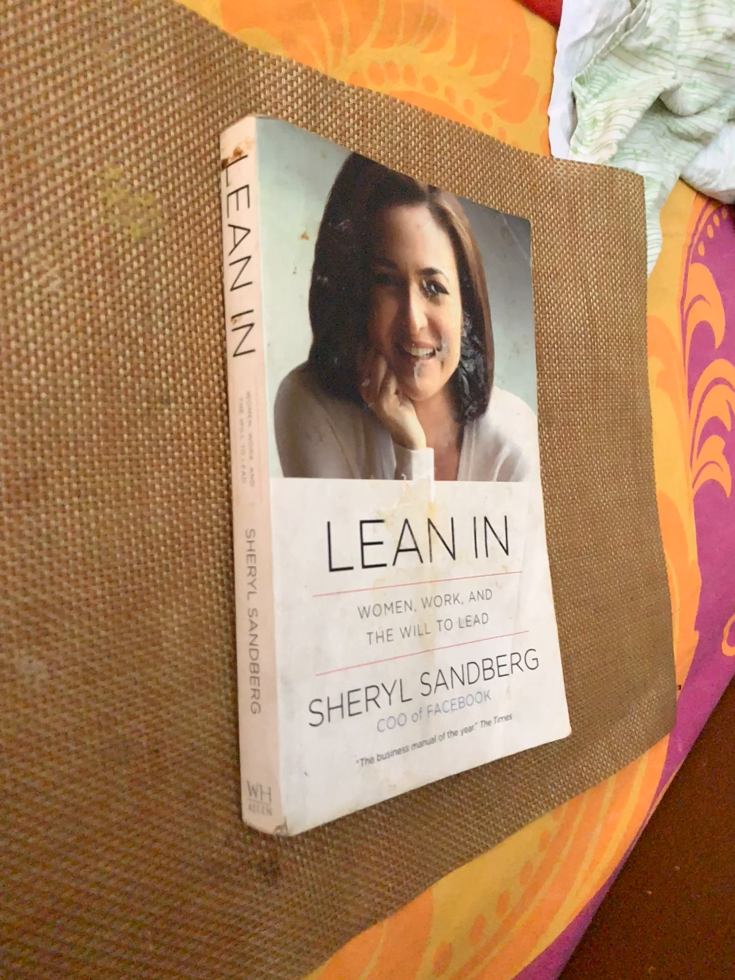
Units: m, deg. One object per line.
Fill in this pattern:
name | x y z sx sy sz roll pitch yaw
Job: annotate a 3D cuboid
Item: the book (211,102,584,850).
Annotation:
book | 0.018 -0.006 0.270 0.141 0.026 0.212 1 83 -42
